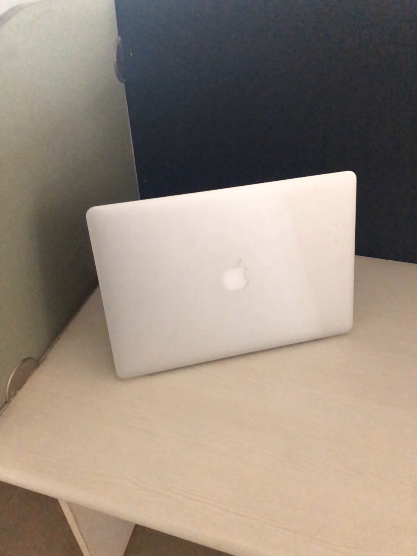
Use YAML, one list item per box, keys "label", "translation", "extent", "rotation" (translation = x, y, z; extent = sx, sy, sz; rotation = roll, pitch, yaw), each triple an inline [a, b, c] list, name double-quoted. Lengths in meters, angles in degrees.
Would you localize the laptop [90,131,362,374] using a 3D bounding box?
- label: "laptop"
  translation: [0.008, -0.054, 0.703]
  extent: [0.321, 0.232, 0.245]
  rotation: [-10, 38, -10]
